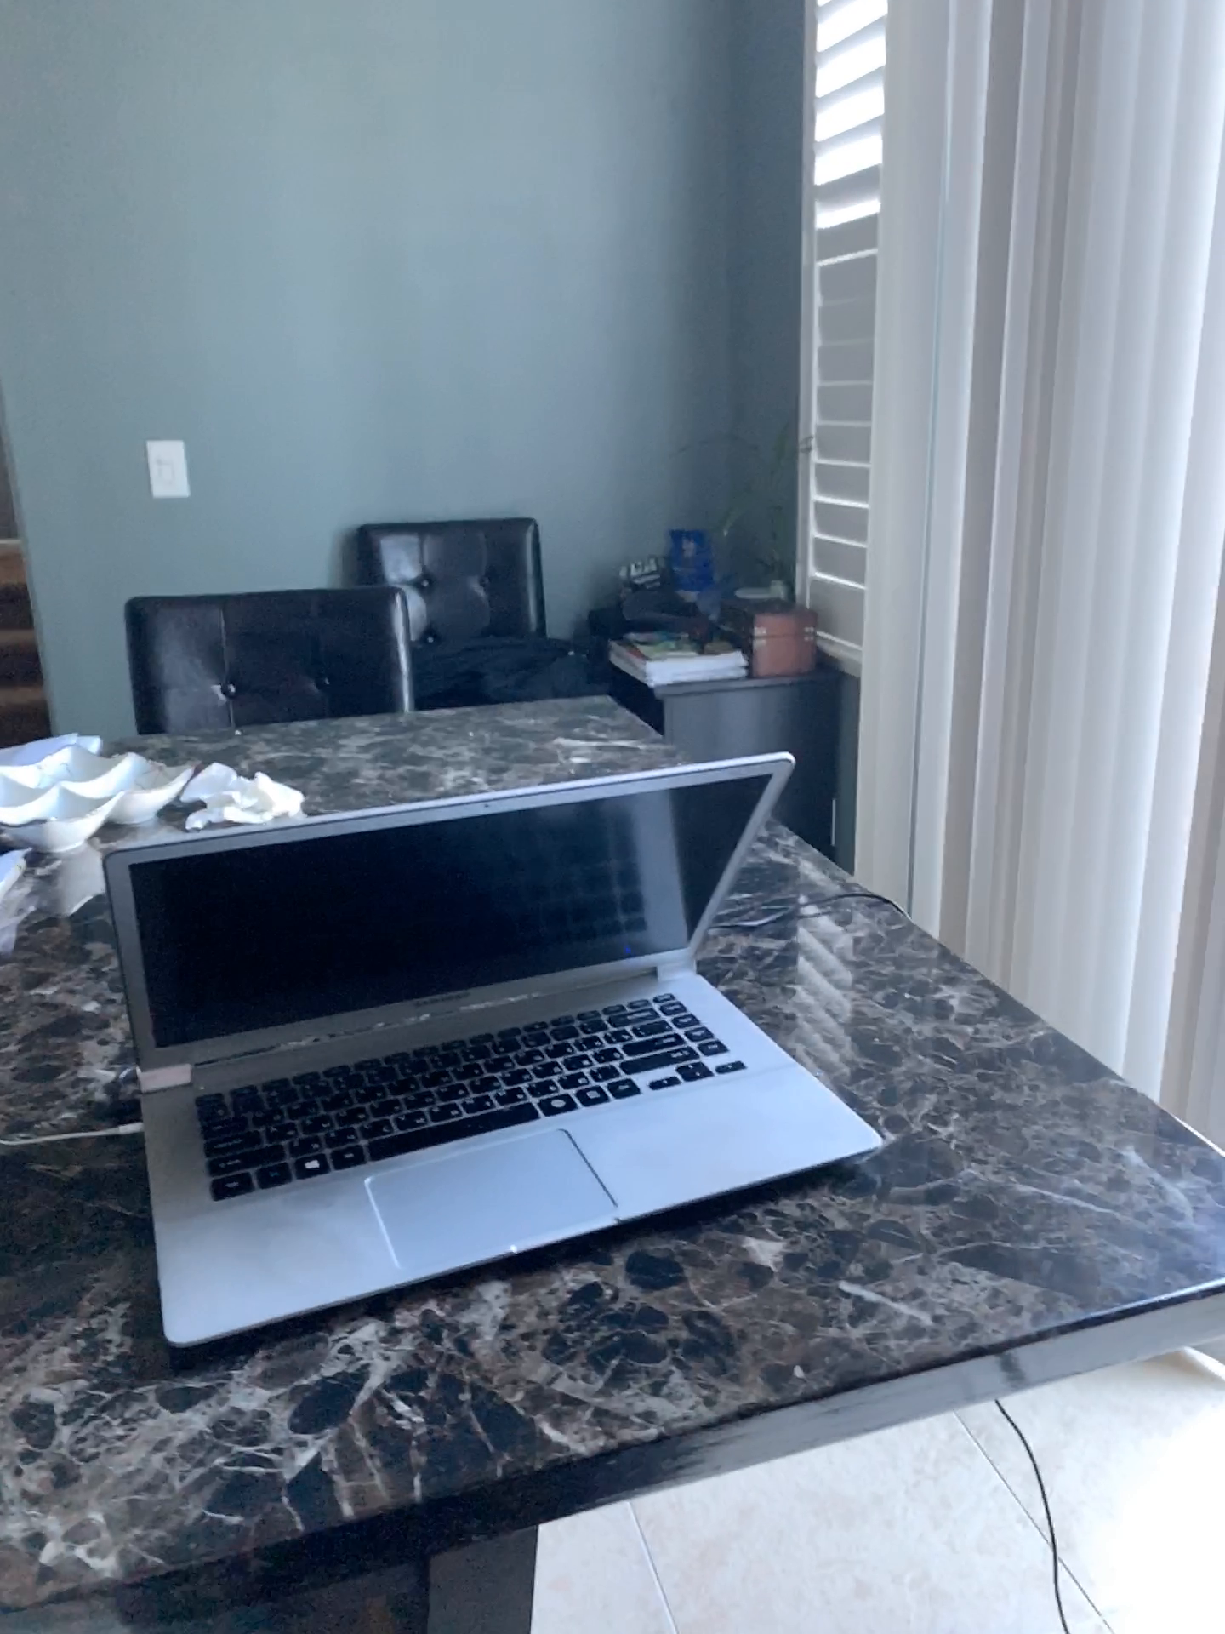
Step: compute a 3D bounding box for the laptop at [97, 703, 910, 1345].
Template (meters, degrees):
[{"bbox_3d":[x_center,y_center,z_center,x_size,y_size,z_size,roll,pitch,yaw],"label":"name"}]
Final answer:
[{"bbox_3d":[-0.066,0.075,0.673,0.361,0.188,0.235,-9,20,-21],"label":"laptop"}]
